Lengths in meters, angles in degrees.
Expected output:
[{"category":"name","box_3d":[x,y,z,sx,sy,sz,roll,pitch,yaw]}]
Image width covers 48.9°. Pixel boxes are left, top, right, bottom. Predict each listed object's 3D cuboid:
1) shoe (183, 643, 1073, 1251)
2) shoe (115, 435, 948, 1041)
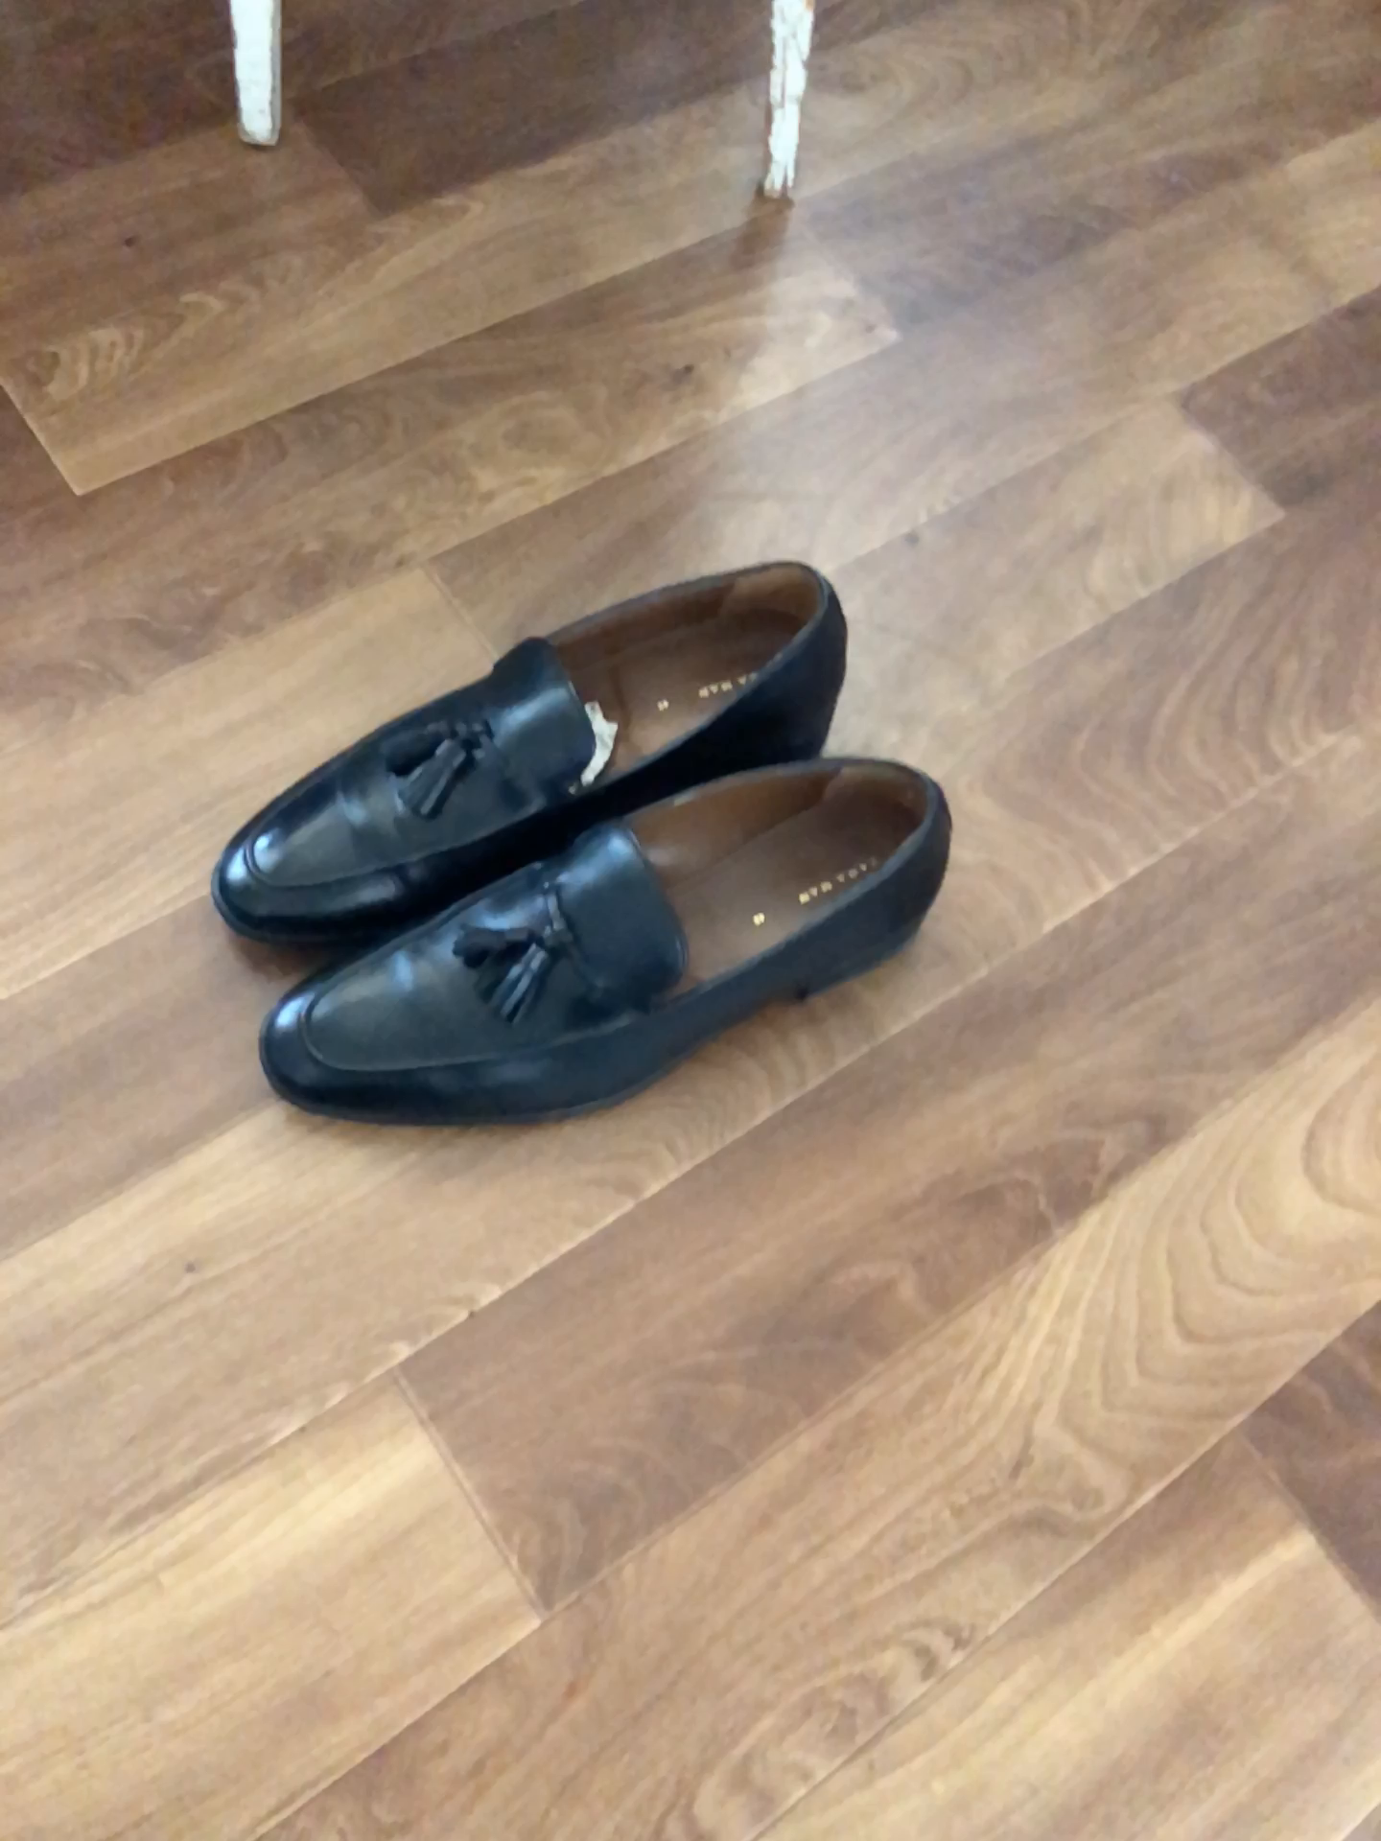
[{"category":"shoe","box_3d":[-0.023,0.009,0.598,0.300,0.119,0.110,-19,68,-15]},{"category":"shoe","box_3d":[-0.060,-0.078,0.637,0.300,0.119,0.110,-23,69,-16]}]
